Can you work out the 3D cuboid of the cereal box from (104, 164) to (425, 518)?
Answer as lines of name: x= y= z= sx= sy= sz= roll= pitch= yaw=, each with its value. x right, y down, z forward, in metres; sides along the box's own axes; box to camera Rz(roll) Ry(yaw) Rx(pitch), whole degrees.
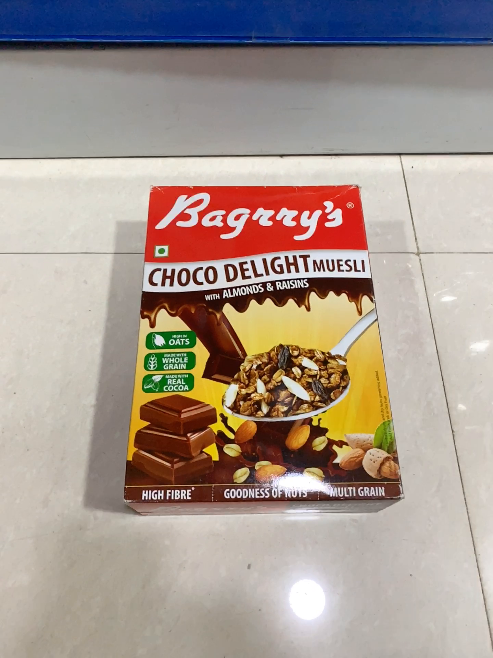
cereal box: x=0.010 y=0.000 z=0.412 sx=0.200 sy=0.080 sz=0.281 roll=0 pitch=64 yaw=-1
